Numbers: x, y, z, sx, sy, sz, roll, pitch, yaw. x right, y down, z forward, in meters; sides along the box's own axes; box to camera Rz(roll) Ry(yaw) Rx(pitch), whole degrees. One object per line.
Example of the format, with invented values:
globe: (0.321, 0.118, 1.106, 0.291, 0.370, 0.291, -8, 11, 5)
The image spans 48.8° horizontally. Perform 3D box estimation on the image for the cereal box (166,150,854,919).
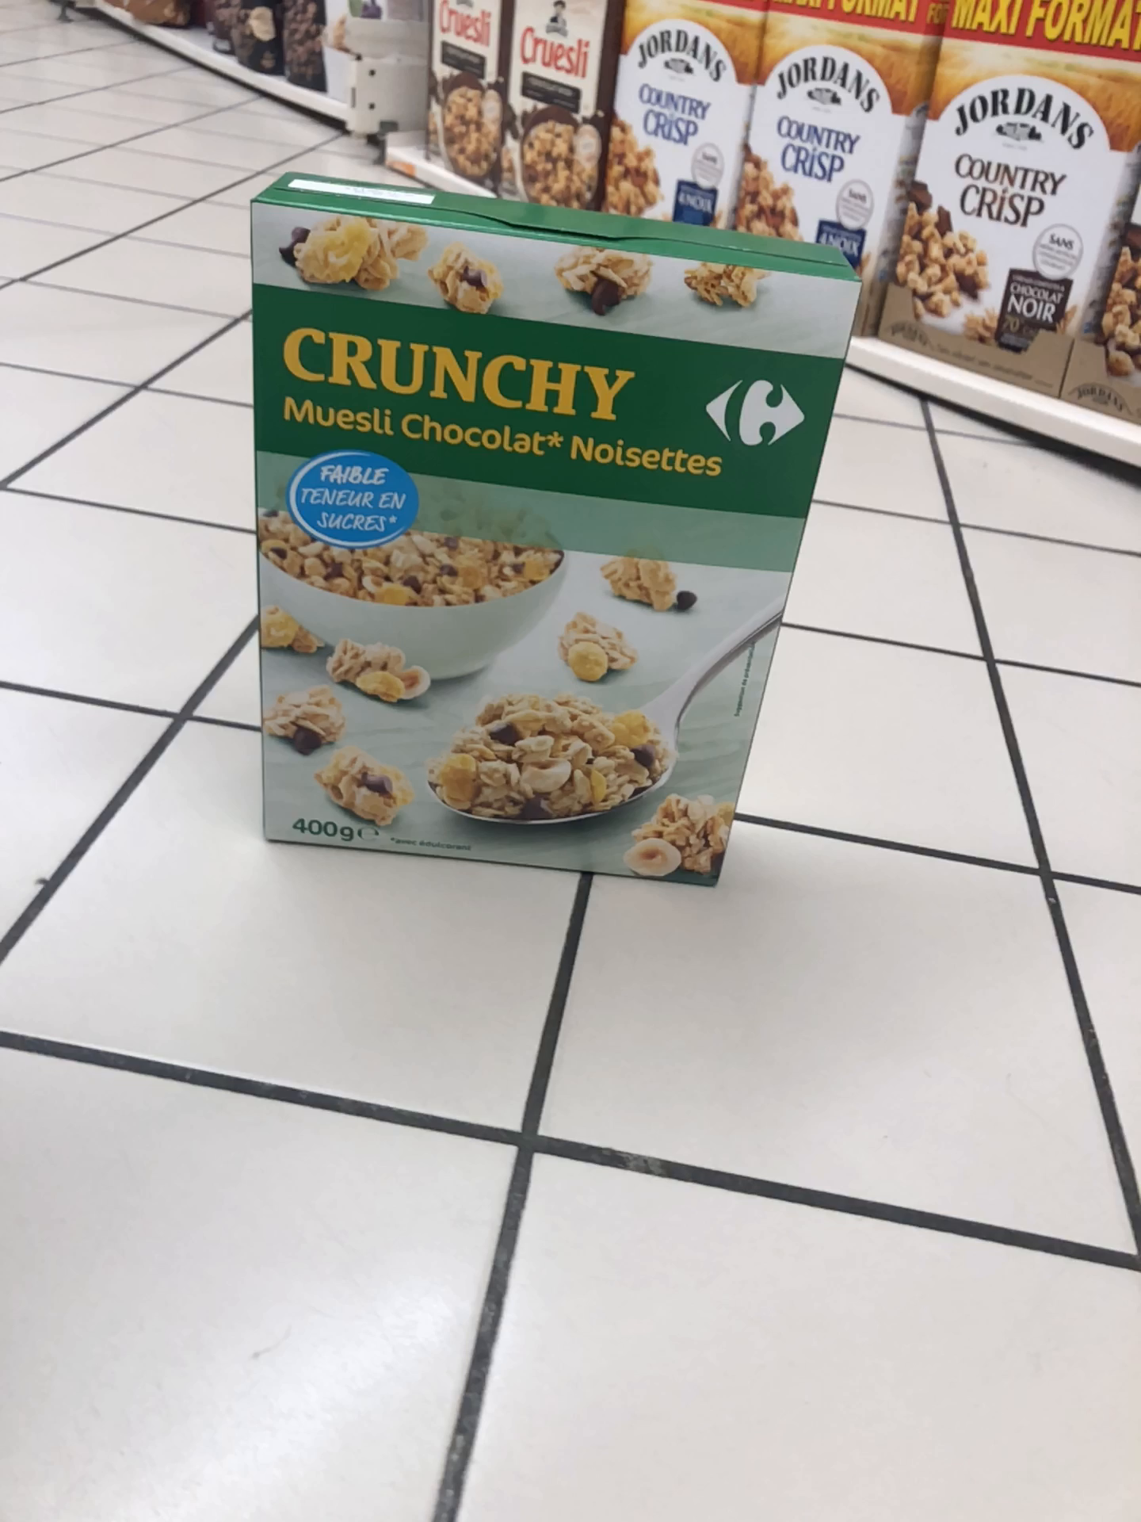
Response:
cereal box: (-0.030, -0.068, 0.457, 0.200, 0.248, 0.060, 7, 33, -2)
